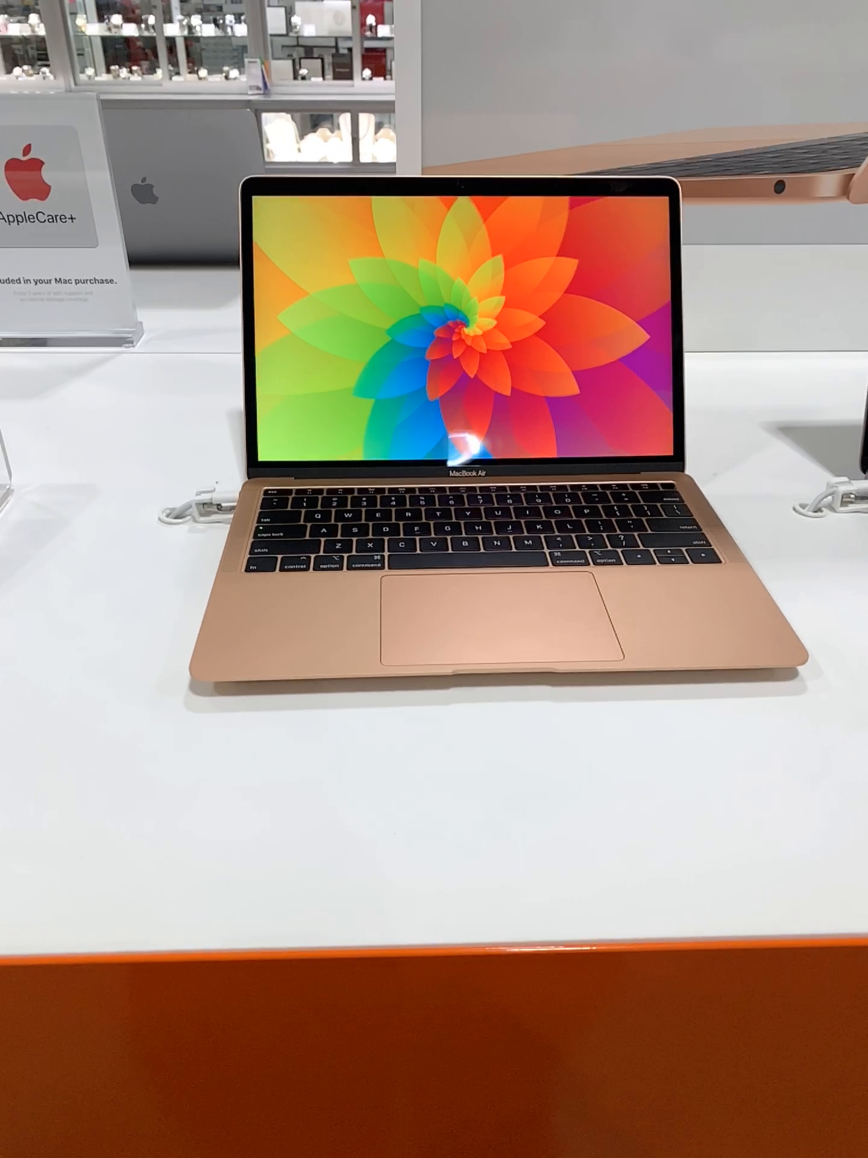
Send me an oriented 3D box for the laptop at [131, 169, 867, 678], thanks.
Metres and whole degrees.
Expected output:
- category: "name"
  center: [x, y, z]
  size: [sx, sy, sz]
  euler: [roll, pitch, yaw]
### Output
- category: "laptop"
  center: [0.026, -0.115, 0.509]
  size: [0.293, 0.170, 0.311]
  euler: [-1, 33, -3]
